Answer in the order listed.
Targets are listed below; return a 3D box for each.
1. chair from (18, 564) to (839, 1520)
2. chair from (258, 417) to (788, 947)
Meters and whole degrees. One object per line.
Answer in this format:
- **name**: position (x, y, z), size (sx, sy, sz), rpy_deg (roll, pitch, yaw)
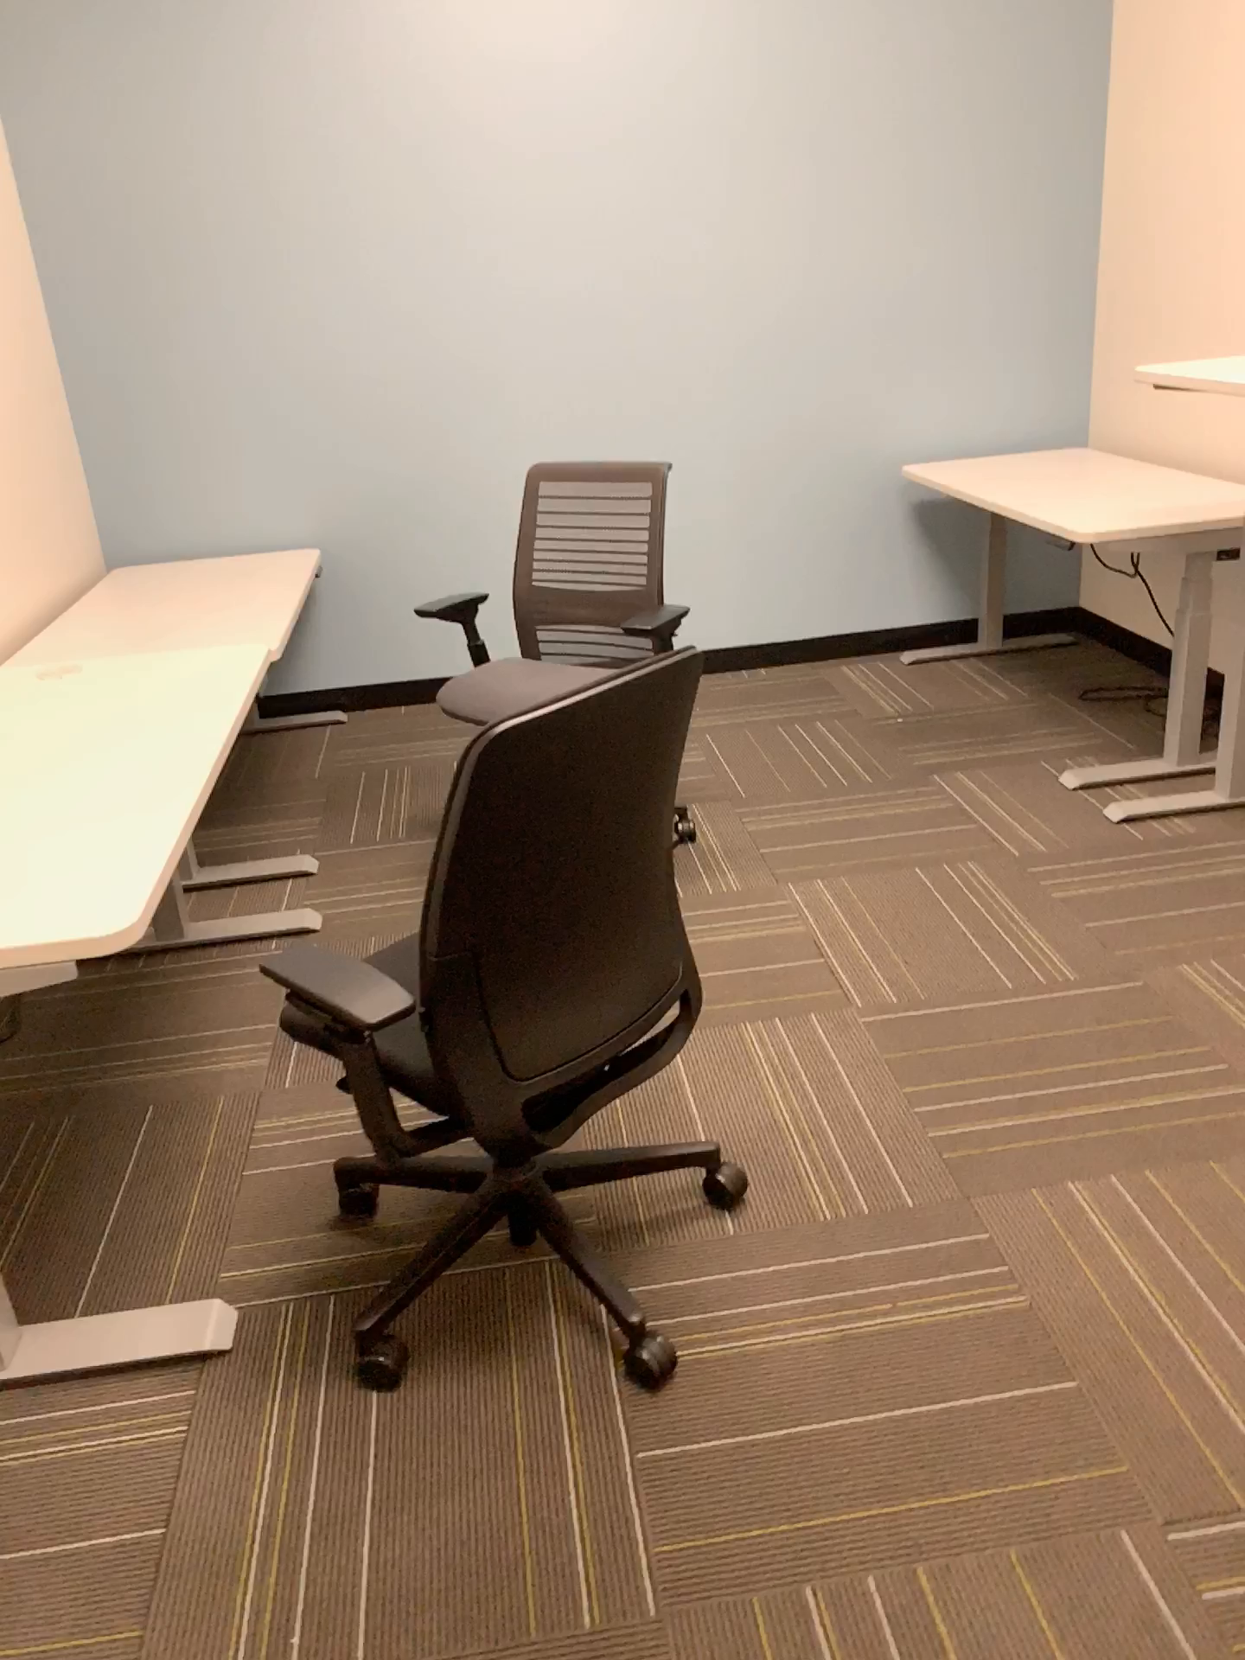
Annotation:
- **chair**: position (-0.207, 0.188, 1.785), size (0.773, 0.935, 0.681), rpy_deg (12, 28, 35)
- **chair**: position (-0.192, -0.424, 3.067), size (0.893, 0.994, 0.772), rpy_deg (11, 28, 34)
